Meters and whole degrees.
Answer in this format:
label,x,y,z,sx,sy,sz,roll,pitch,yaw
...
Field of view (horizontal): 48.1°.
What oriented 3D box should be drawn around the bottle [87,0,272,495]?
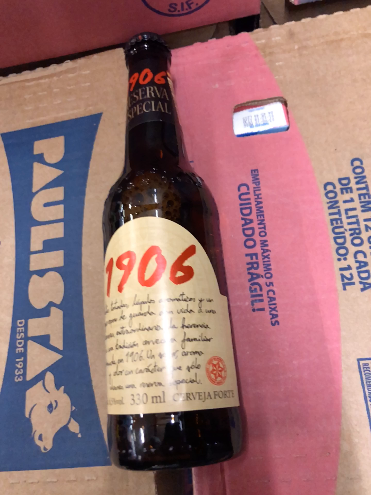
label,x,y,z,sx,sy,sz,roll,pitch,yaw
bottle,-0.008,-0.017,0.231,0.070,0.060,0.271,-7,72,7
